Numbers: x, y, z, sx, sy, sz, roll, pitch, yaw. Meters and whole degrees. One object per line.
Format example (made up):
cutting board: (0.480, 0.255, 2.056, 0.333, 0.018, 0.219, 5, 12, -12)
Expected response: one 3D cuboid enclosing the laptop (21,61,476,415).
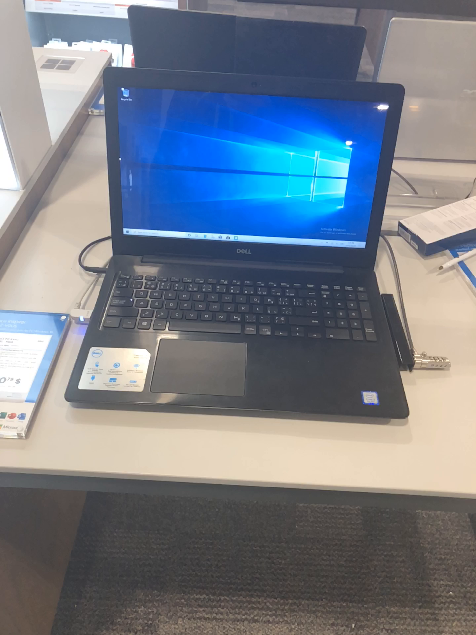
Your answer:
laptop: (0.008, -0.106, 0.610, 0.363, 0.224, 0.337, 3, 46, 0)
